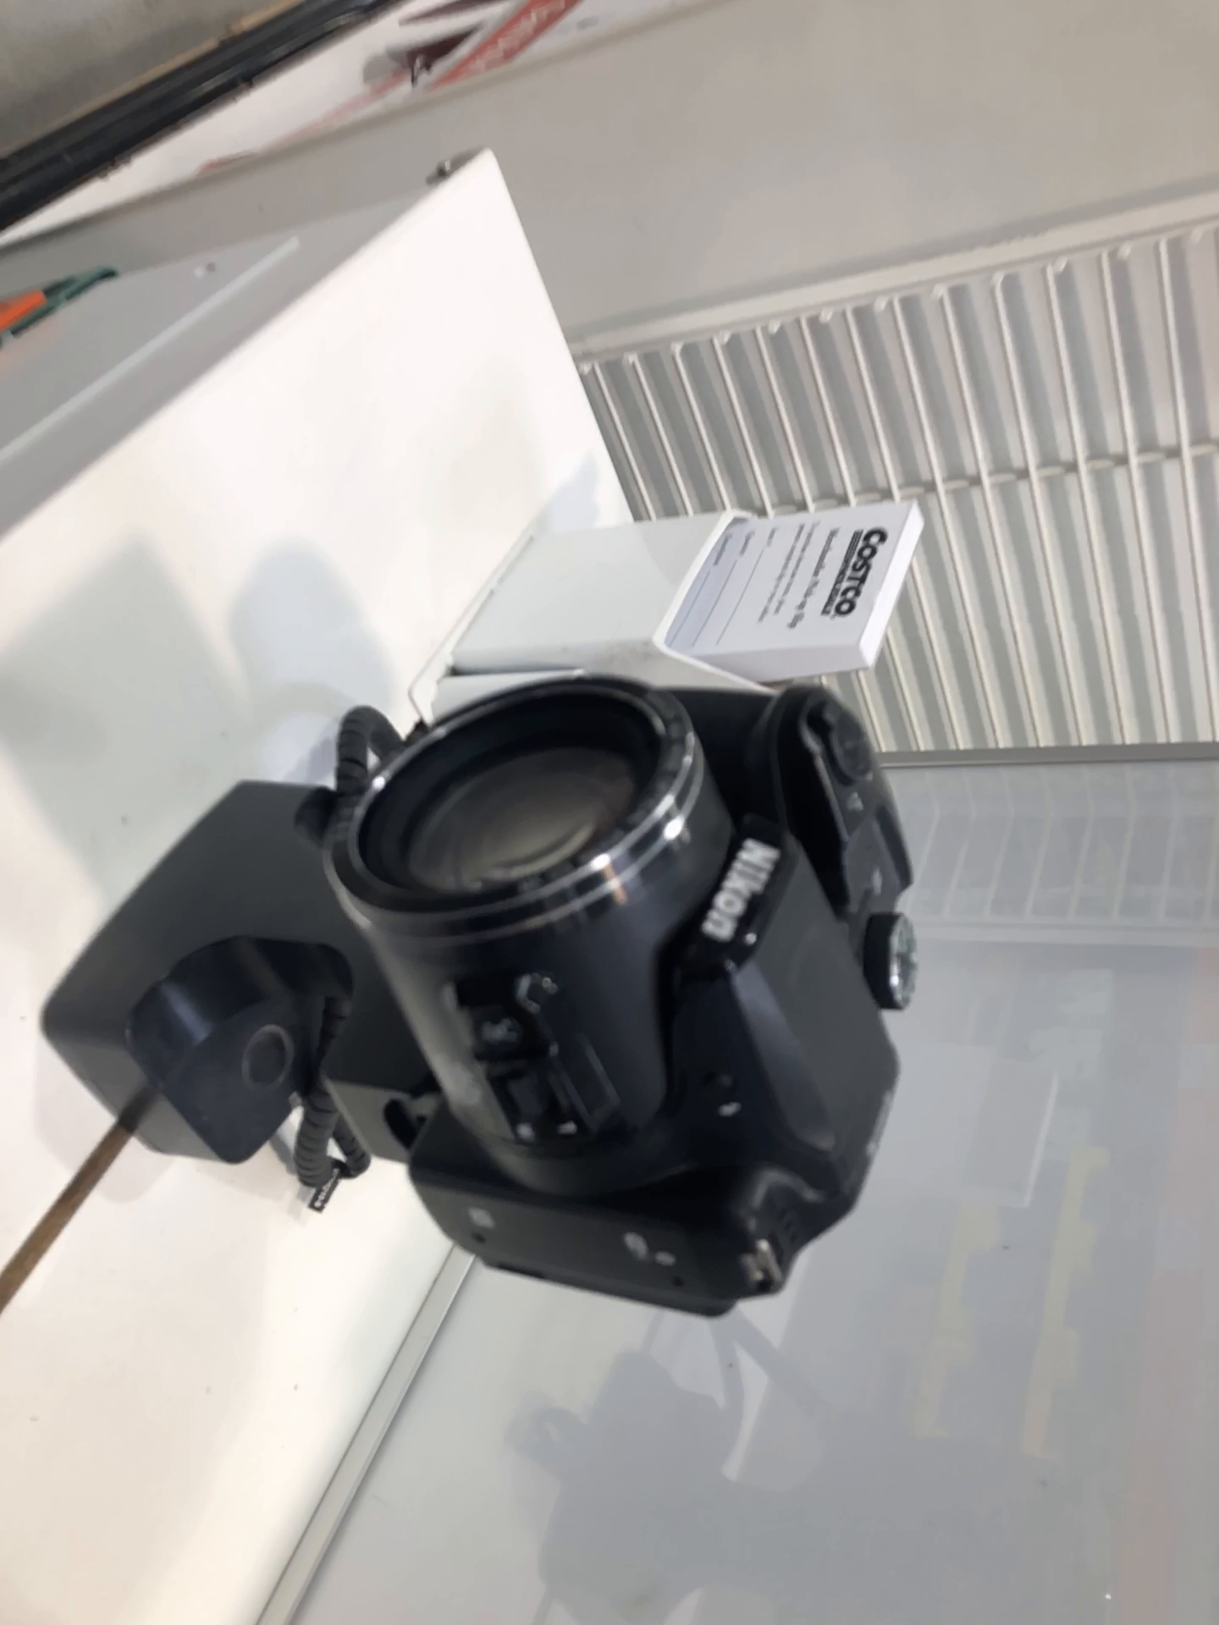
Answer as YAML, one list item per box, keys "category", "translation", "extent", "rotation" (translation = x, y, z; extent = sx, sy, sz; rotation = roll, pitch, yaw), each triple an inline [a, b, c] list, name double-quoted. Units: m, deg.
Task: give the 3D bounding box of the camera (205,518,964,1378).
- category: "camera"
  translation: [0.009, 0.022, 0.261]
  extent: [0.116, 0.079, 0.101]
  rotation: [-63, 140, -39]
